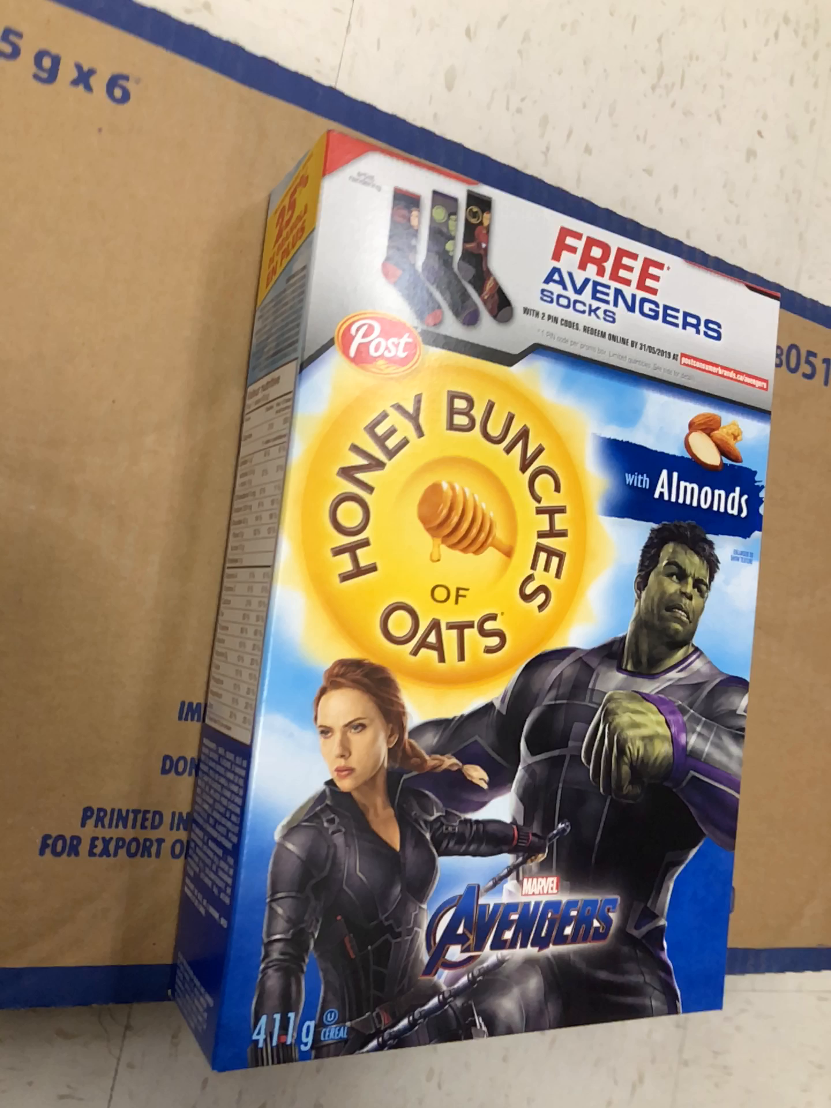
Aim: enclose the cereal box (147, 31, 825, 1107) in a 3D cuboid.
[{"bbox_3d":[0.034,0.013,0.319,0.200,0.070,0.290,8,86,-27],"label":"cereal box"}]
